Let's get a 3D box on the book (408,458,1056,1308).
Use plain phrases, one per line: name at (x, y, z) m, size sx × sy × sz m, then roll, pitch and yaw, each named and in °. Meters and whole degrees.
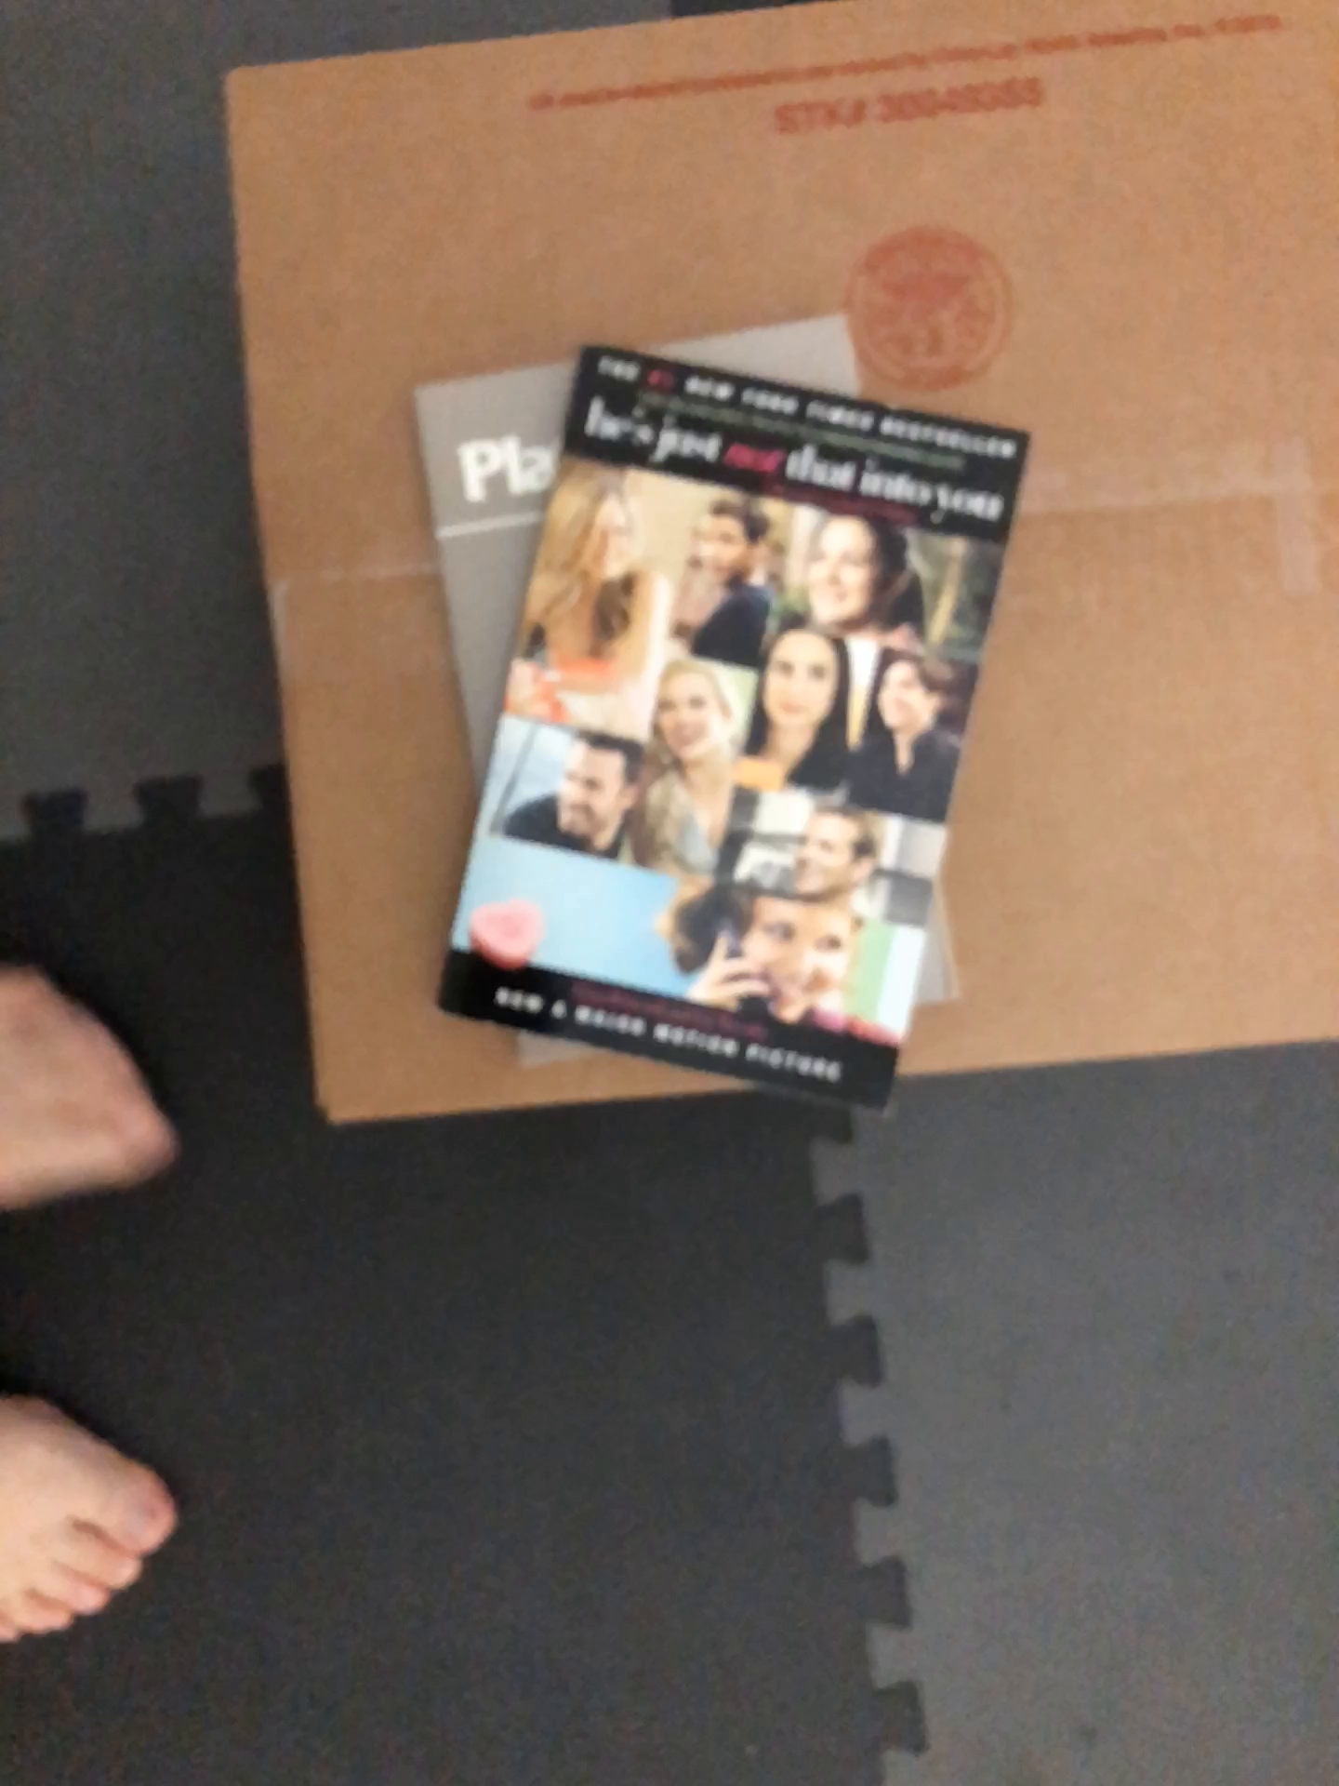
book at (0.019, -0.004, 0.460) m, size 0.150 × 0.010 × 0.230 m, roll 12°, pitch 89°, yaw 3°
